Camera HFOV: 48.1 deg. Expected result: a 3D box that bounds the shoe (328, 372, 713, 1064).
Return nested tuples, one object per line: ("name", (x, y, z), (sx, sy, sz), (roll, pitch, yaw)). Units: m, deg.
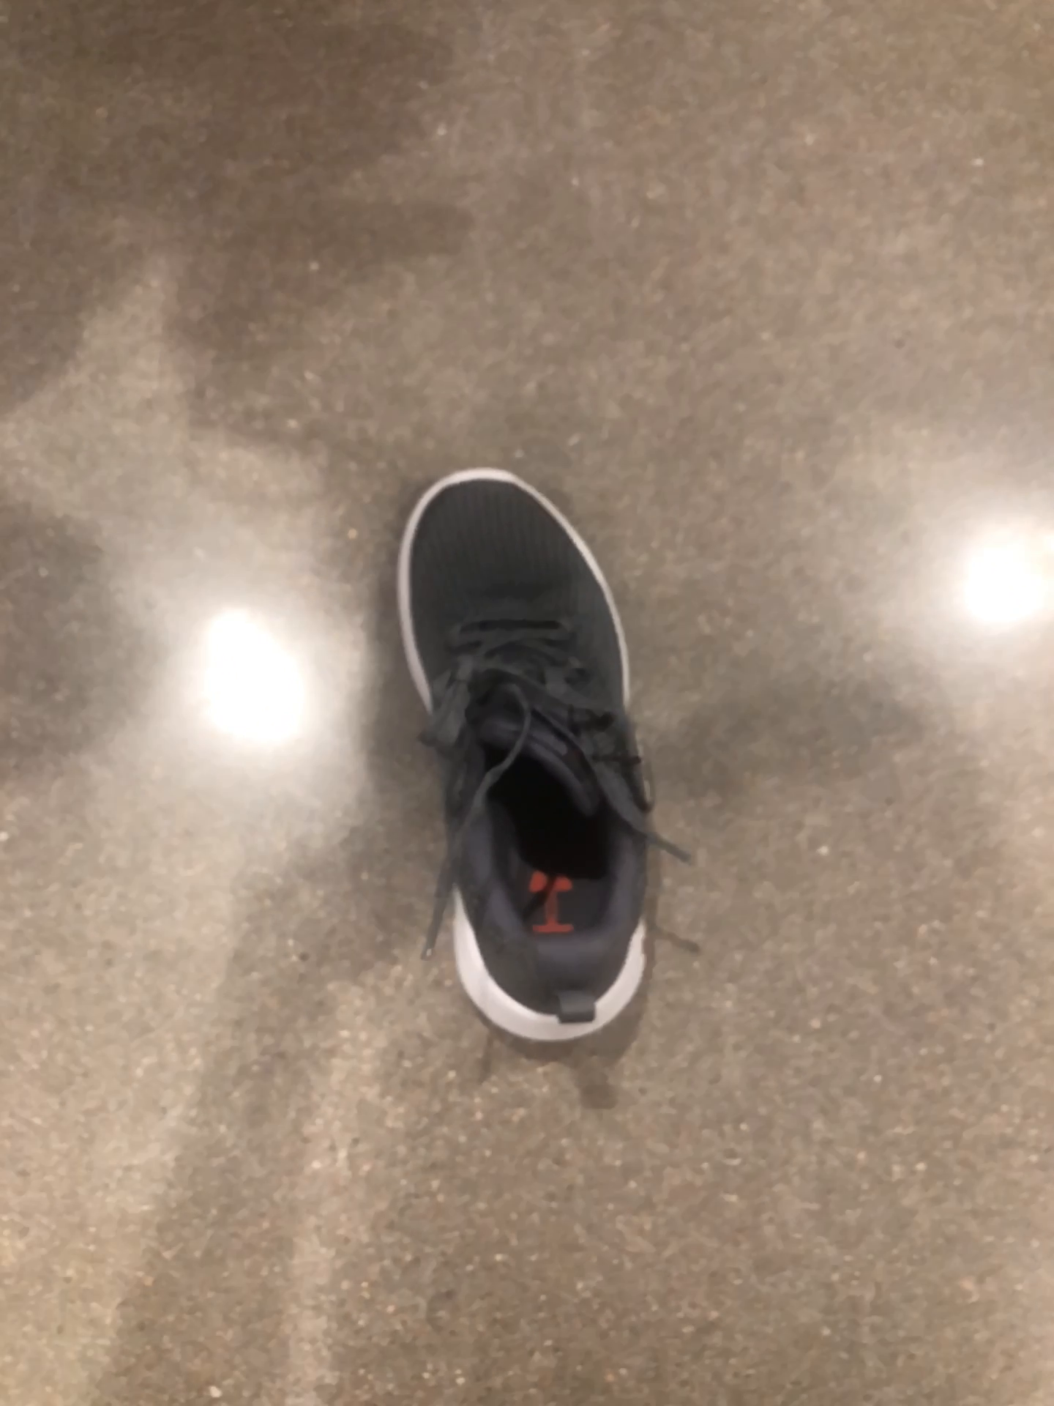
("shoe", (-0.010, 0.005, 0.493), (0.116, 0.085, 0.265), (-6, 74, -6))
